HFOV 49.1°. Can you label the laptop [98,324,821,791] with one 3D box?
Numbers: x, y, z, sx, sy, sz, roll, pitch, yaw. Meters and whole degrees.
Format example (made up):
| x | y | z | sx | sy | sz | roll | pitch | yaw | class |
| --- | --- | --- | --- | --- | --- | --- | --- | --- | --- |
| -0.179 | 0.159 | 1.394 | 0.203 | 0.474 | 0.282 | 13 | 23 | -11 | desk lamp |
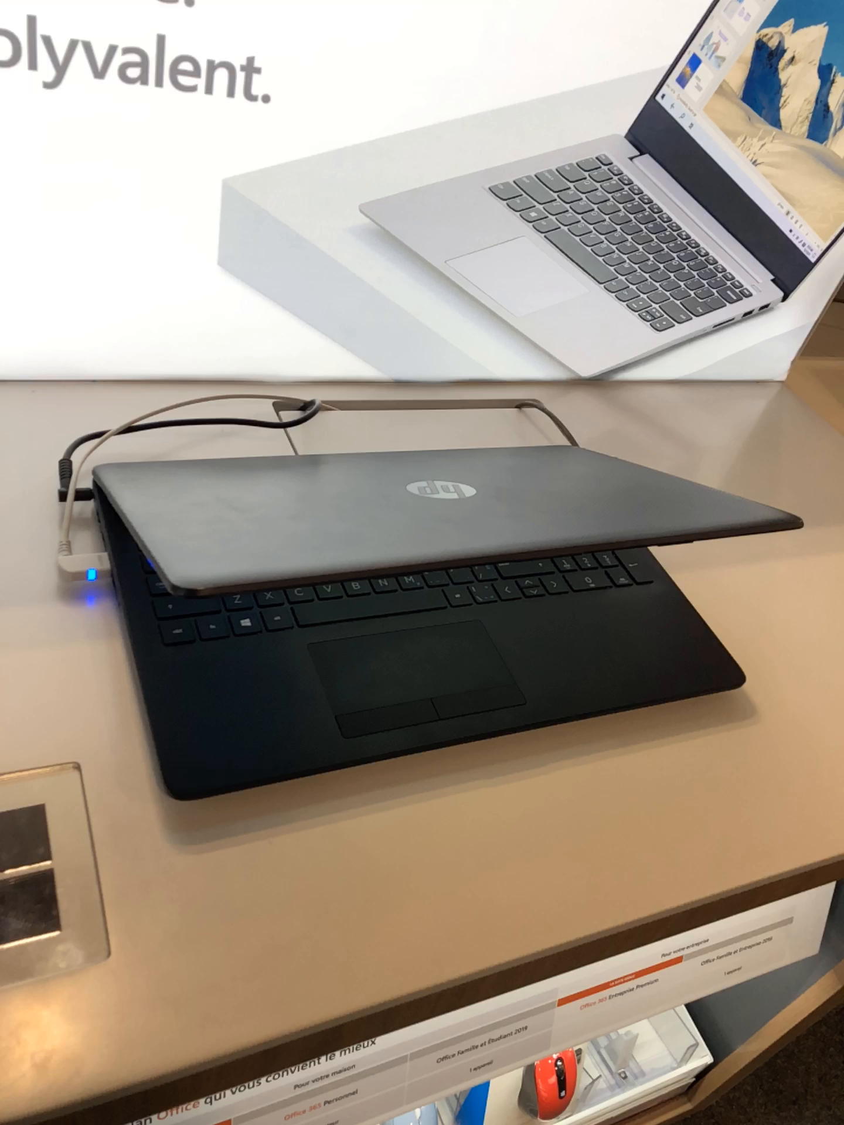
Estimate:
| x | y | z | sx | sy | sz | roll | pitch | yaw | class |
| --- | --- | --- | --- | --- | --- | --- | --- | --- | --- |
| 0.009 | -0.028 | 0.554 | 0.352 | 0.107 | 0.239 | -5 | 46 | -25 | laptop |
